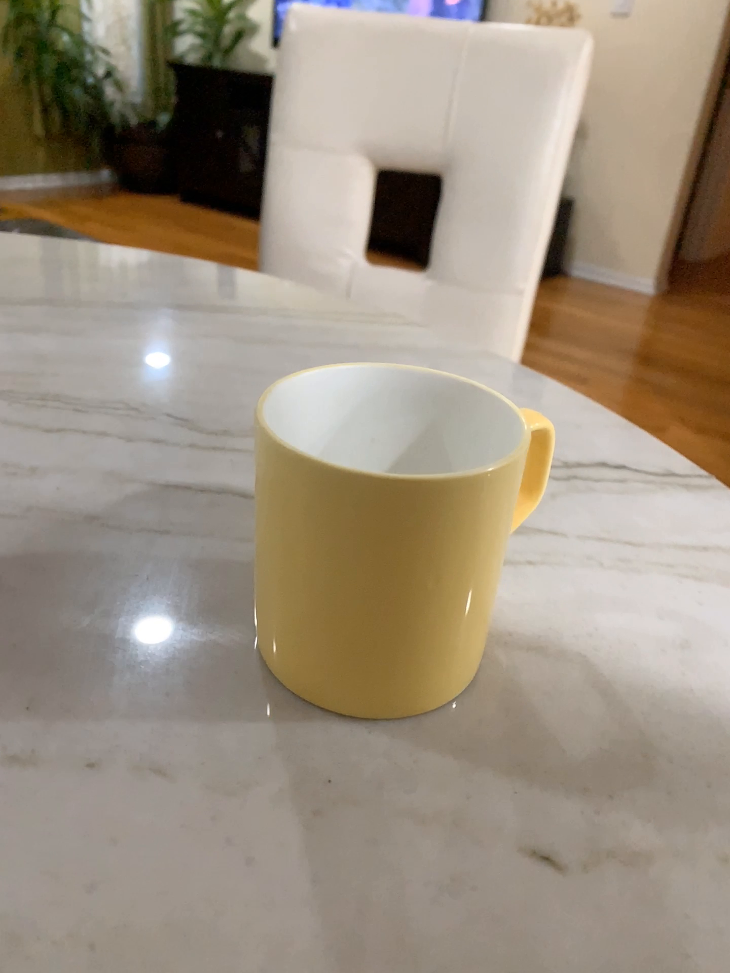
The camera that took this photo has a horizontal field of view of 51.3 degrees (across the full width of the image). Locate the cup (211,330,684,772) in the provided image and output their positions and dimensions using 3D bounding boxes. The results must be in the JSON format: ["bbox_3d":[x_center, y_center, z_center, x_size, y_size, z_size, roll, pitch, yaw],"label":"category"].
[{"bbox_3d":[0.022,0.008,0.226,0.110,0.074,0.075,-19,37,-36],"label":"cup"}]
